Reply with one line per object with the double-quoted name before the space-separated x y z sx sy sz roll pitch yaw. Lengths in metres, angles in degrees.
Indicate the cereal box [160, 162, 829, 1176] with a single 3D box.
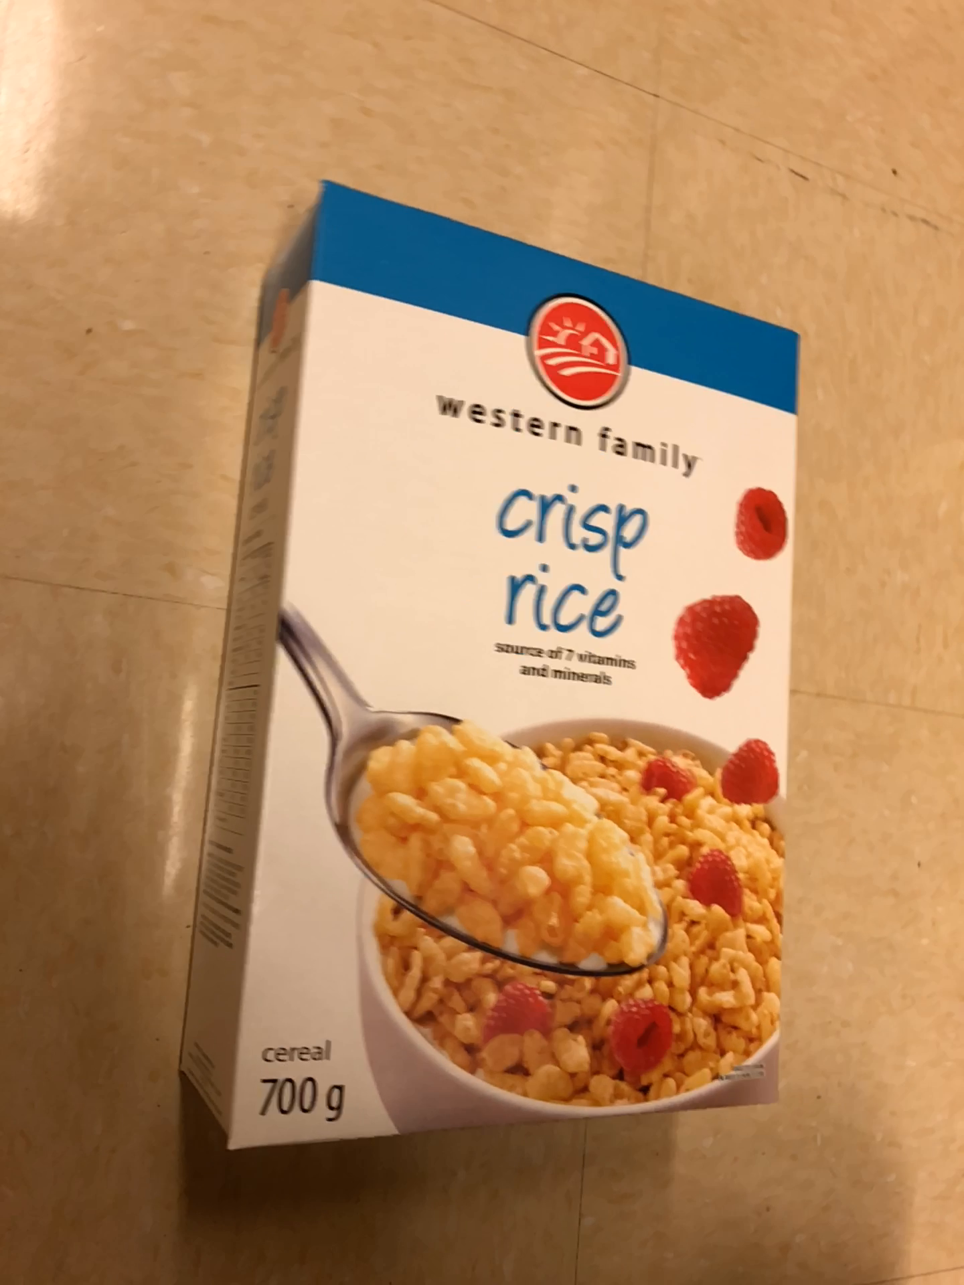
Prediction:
"cereal box" 0.016 0.015 0.417 0.231 0.080 0.320 8 81 -25
